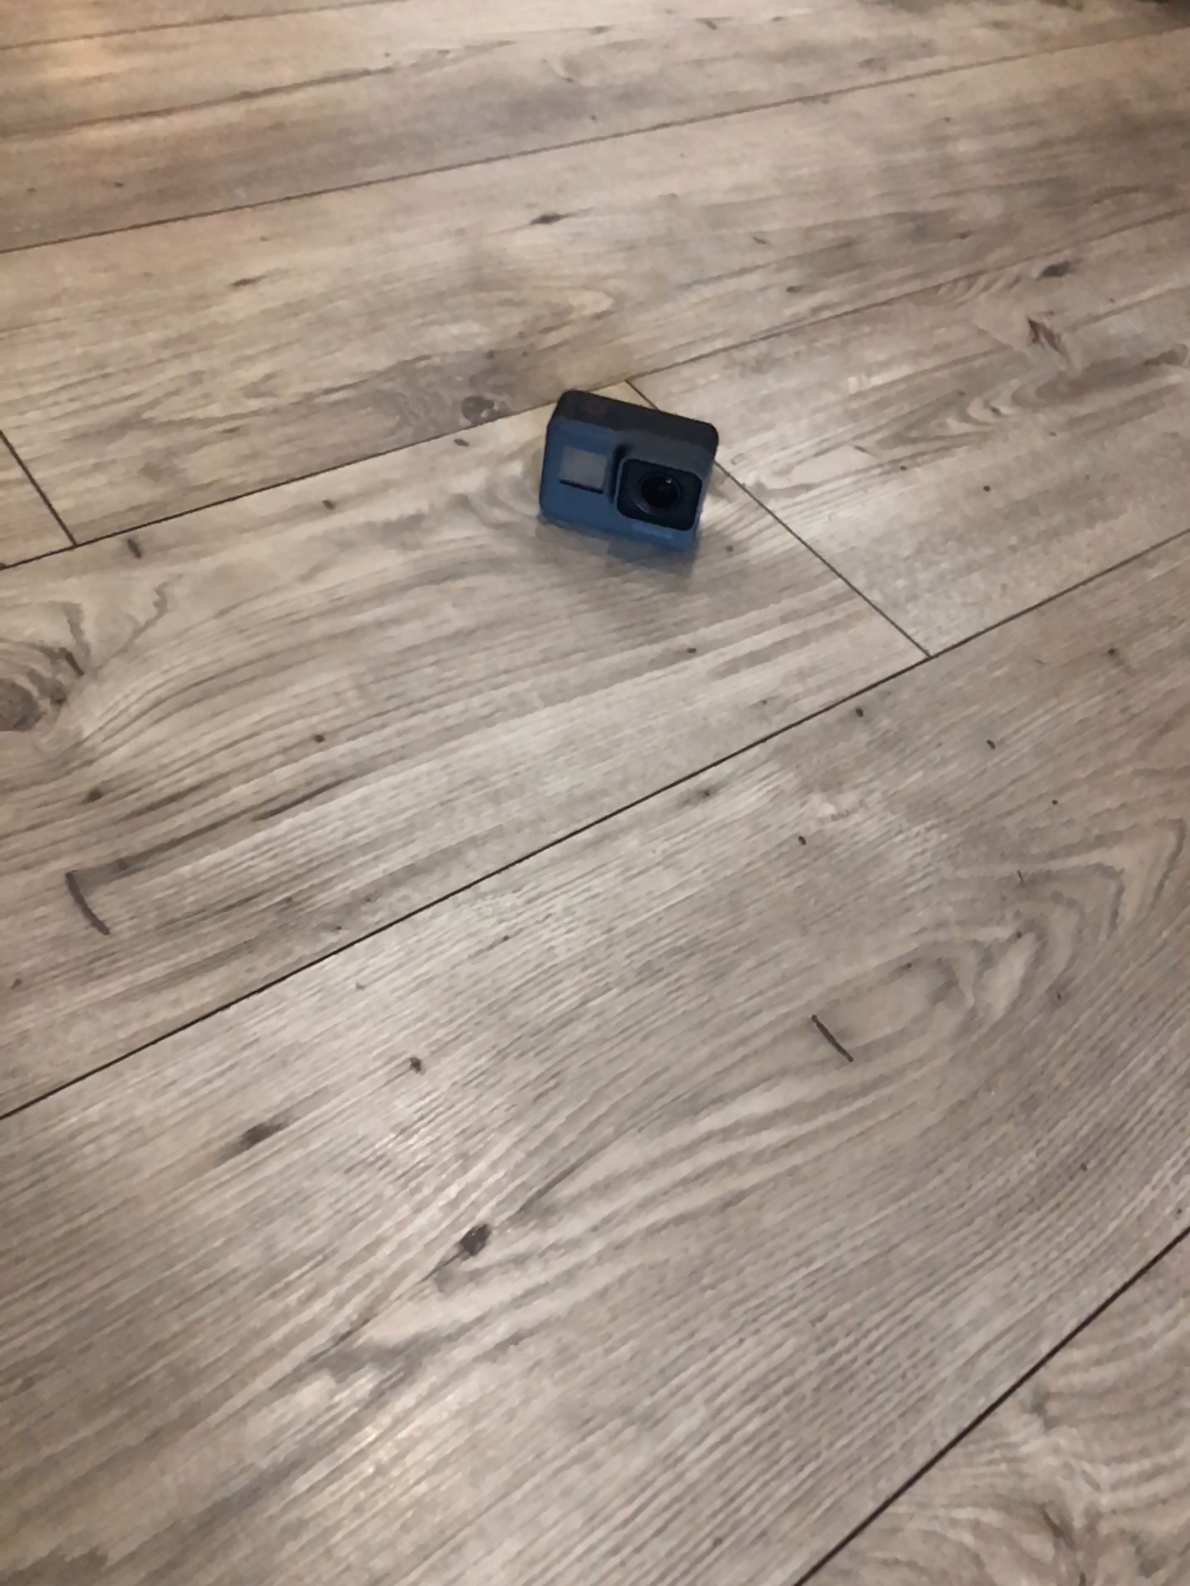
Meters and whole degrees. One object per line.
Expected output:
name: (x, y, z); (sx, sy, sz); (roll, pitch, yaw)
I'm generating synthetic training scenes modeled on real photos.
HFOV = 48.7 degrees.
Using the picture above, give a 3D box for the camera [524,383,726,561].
camera: (0.011, -0.119, 0.489); (0.065, 0.040, 0.032); (14, 50, 2)
